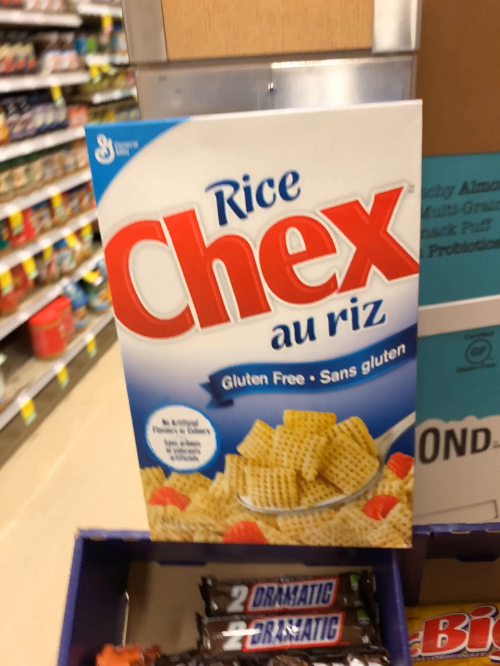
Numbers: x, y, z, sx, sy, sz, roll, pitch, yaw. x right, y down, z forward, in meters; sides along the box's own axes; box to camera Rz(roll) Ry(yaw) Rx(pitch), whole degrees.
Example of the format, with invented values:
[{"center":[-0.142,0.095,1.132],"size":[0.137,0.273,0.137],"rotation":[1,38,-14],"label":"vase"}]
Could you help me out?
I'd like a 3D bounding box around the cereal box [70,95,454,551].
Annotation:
[{"center":[0.013,0.002,0.381],"size":[0.210,0.289,0.070],"rotation":[0,19,7],"label":"cereal box"}]
